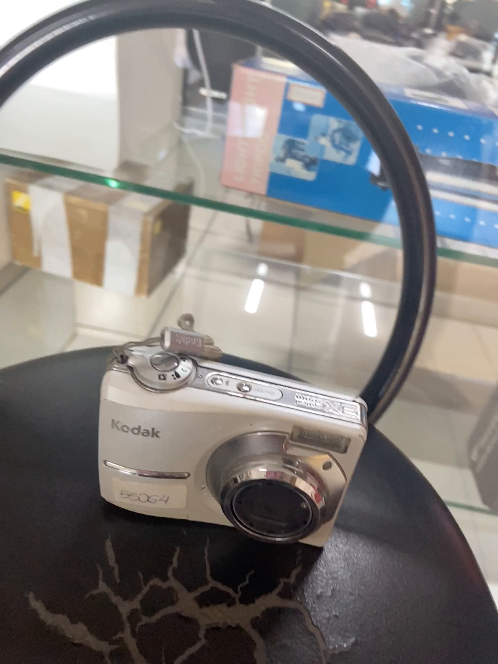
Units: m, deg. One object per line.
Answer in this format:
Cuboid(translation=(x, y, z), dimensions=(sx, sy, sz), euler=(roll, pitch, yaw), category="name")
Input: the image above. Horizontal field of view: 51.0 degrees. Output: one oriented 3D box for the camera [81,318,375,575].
Cuboid(translation=(-0.010, 0.043, 0.193), dimensions=(0.090, 0.070, 0.040), euler=(11, 33, 0), category="camera")
